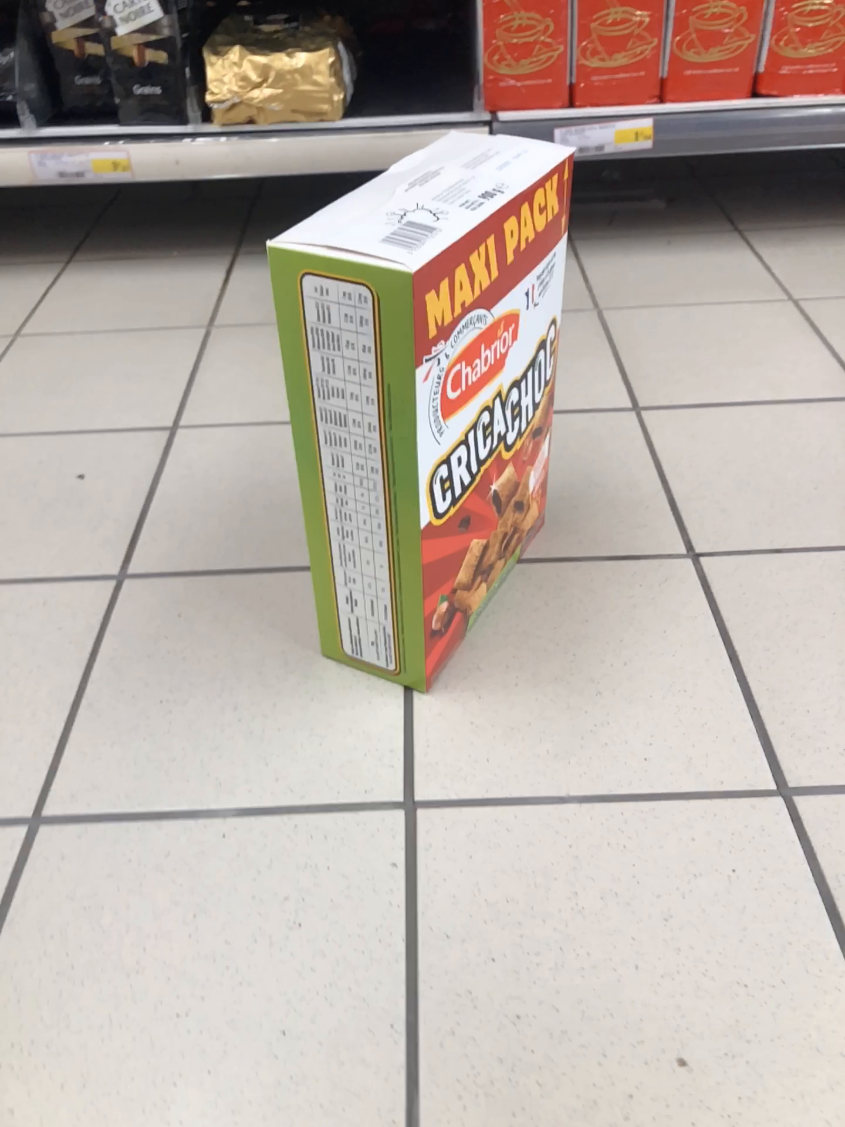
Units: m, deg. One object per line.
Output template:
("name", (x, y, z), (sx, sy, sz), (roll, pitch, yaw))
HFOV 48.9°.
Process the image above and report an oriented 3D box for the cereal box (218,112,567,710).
("cereal box", (0.001, -0.088, 0.536), (0.080, 0.268, 0.201), (17, 43, 24))
